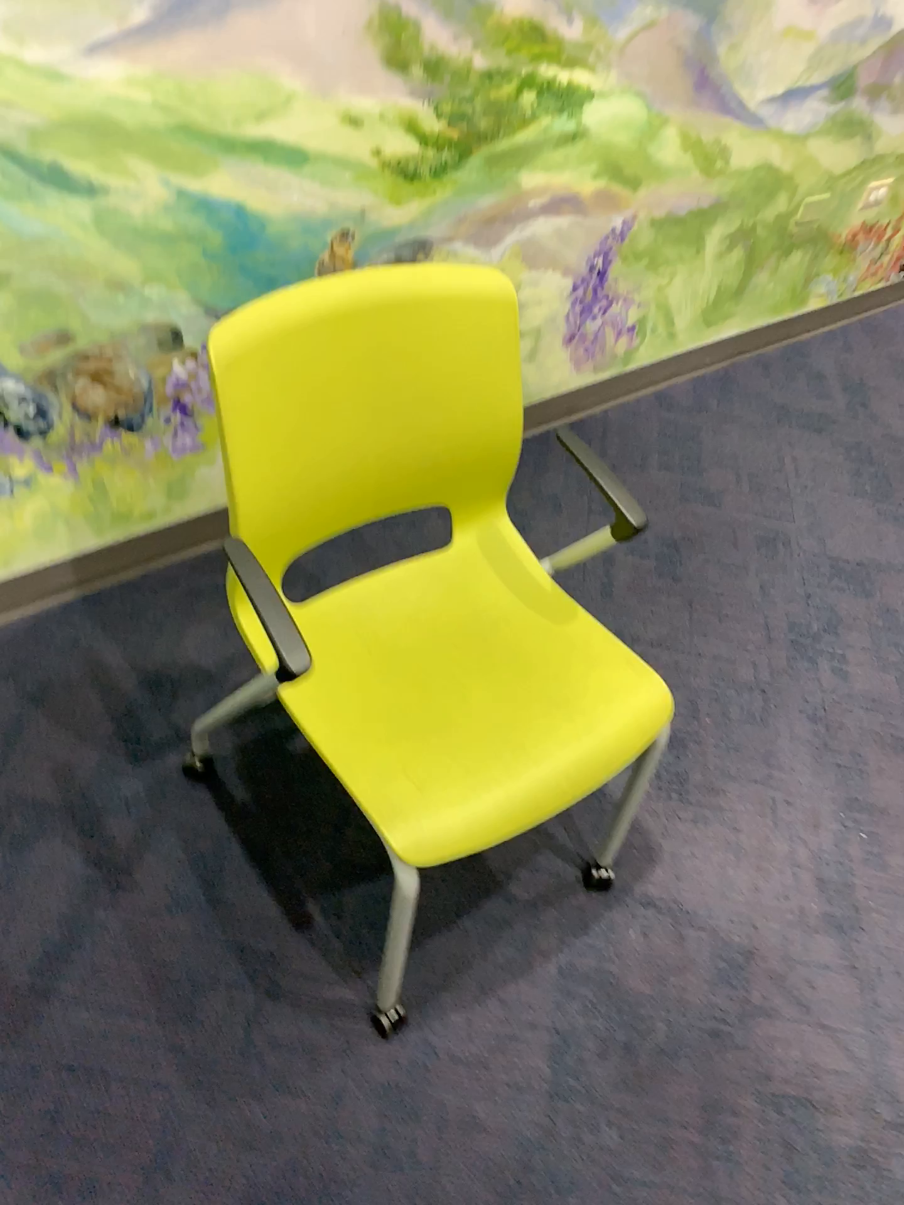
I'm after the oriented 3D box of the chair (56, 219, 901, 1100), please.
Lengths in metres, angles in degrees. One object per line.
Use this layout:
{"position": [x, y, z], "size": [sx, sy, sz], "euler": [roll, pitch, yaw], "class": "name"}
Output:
{"position": [-0.051, 0.040, 1.229], "size": [0.591, 0.717, 0.742], "euler": [-20, 54, -27], "class": "chair"}
